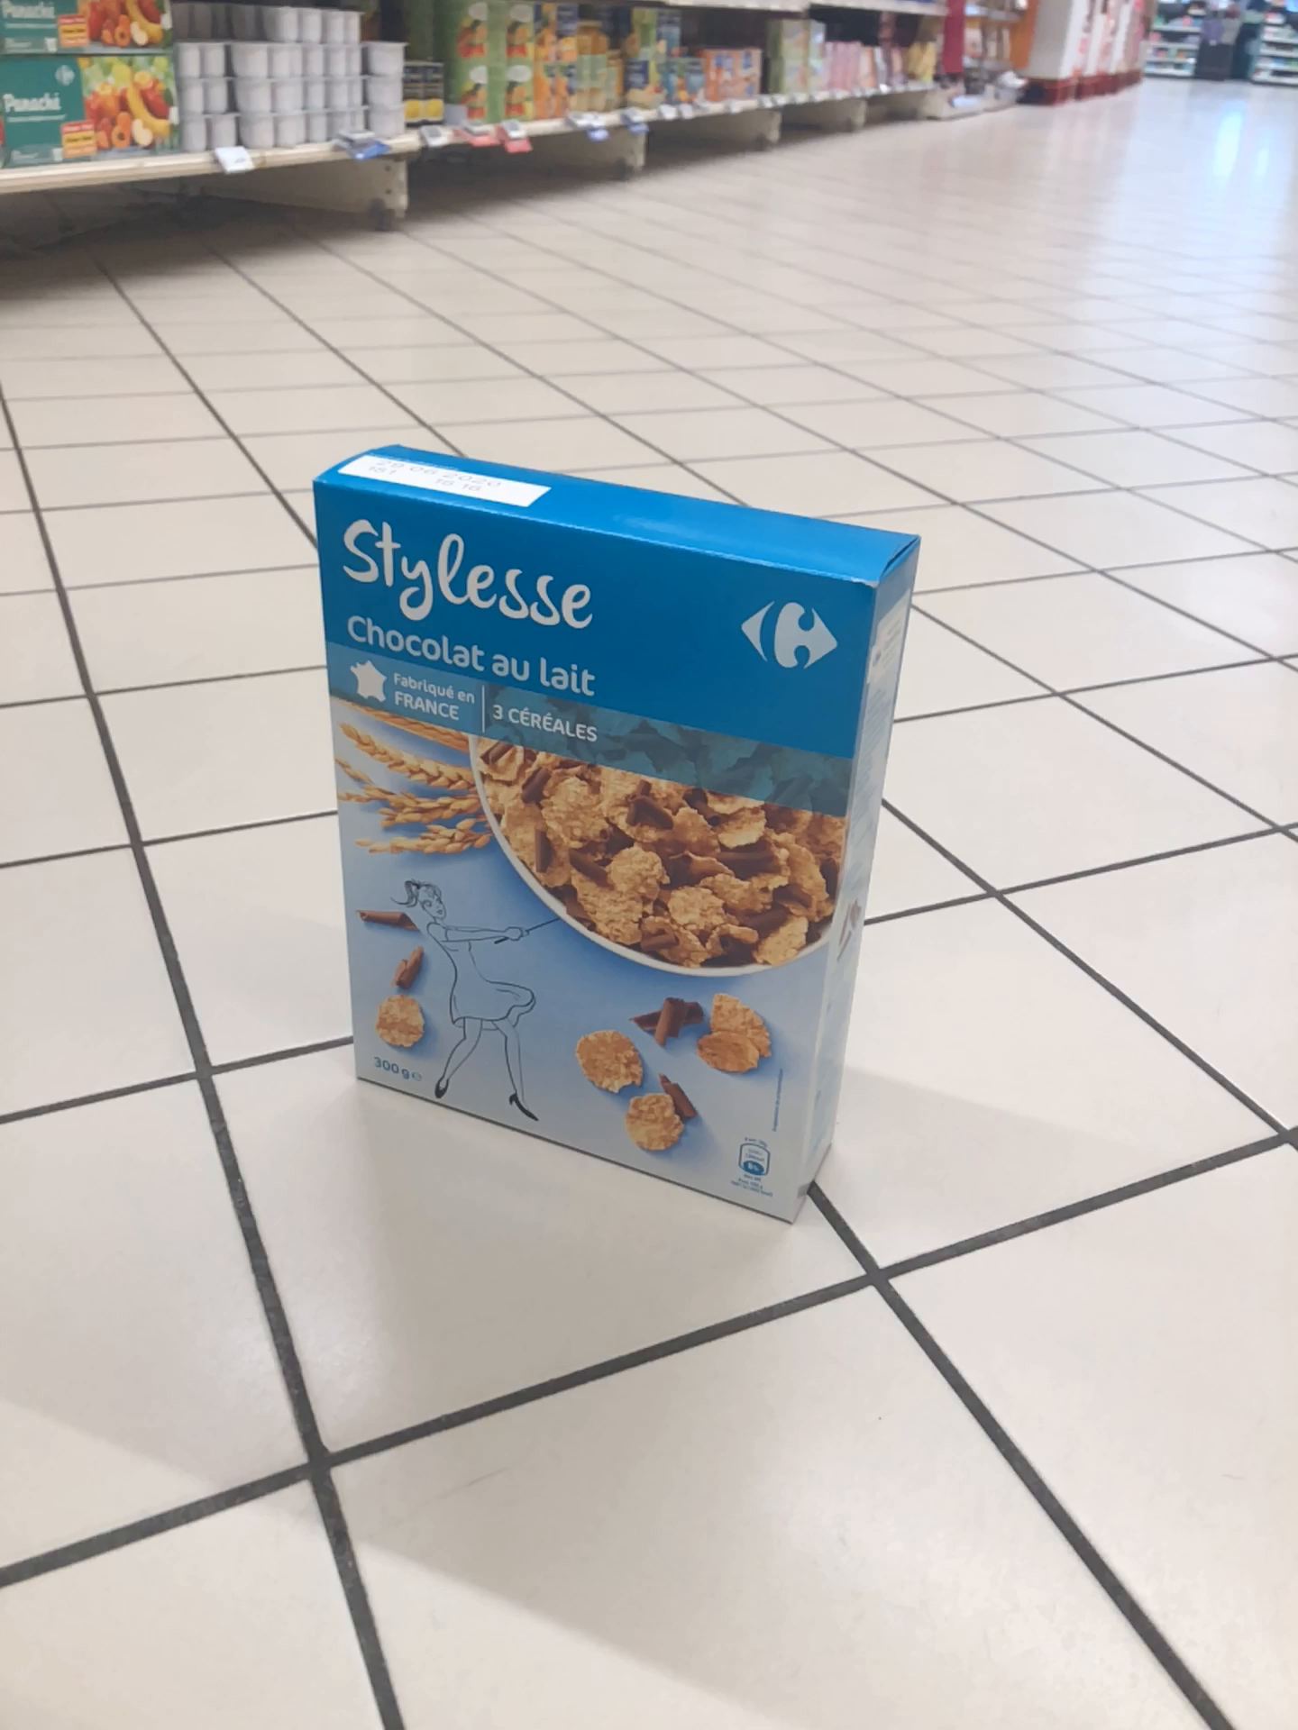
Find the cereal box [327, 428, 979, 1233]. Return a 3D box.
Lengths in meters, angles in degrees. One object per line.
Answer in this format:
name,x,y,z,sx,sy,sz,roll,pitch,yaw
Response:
cereal box,-0.006,-0.012,0.524,0.200,0.249,0.070,15,31,18
